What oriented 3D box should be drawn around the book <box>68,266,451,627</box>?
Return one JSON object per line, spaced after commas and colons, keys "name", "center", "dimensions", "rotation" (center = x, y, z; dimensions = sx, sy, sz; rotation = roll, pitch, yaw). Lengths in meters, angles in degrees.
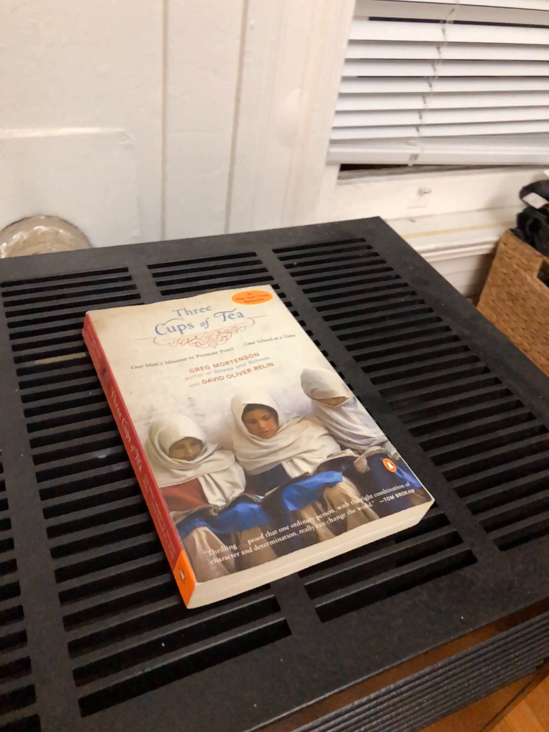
{"name": "book", "center": [-0.023, 0.021, 0.361], "dimensions": [0.140, 0.030, 0.221], "rotation": [-14, 45, -25]}
